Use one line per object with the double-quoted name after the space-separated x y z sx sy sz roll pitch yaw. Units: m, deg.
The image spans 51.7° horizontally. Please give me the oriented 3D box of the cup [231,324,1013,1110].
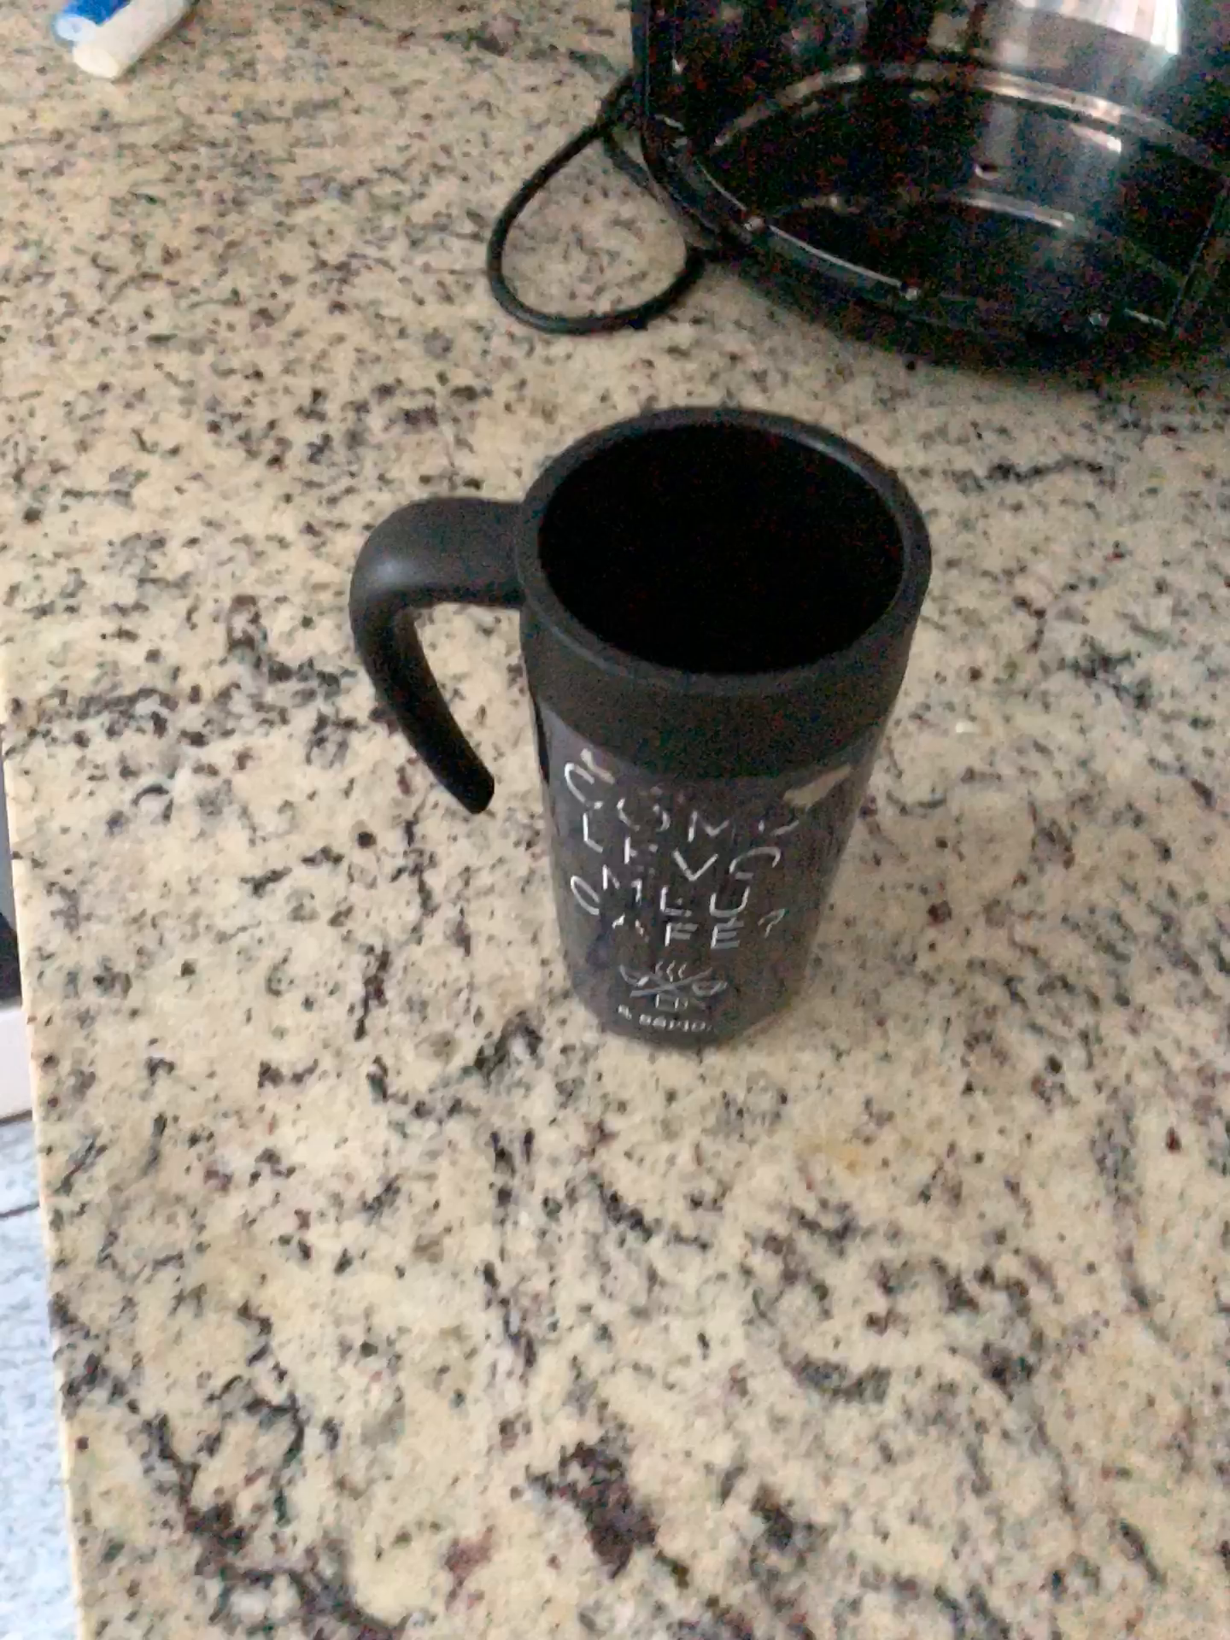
0.006 -0.014 0.275 0.120 0.139 0.080 10 55 7 "cup"
